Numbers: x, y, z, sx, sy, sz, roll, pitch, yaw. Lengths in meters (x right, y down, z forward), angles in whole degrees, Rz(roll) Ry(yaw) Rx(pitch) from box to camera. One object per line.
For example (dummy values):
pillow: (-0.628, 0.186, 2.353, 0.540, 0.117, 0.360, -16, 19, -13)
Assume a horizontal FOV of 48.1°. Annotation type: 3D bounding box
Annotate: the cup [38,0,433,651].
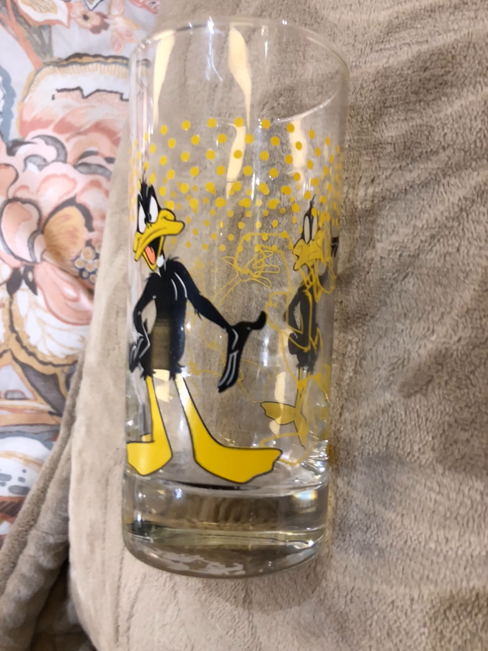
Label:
cup: (0.002, -0.010, 0.159, 0.070, 0.070, 0.160, -1, 79, 41)
